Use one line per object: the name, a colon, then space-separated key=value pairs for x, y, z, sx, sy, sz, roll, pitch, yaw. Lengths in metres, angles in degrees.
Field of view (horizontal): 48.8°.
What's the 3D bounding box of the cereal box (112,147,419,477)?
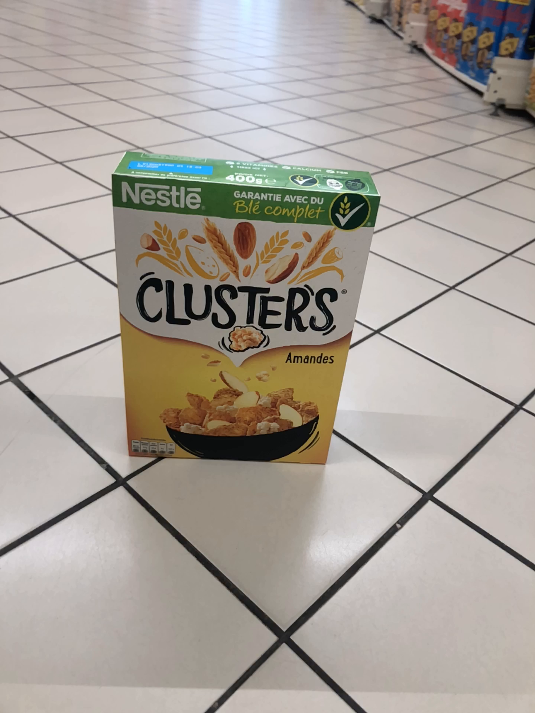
cereal box: x=-0.013 y=-0.022 z=0.501 sx=0.210 sy=0.268 sz=0.060 roll=5 pitch=34 yaw=-3
